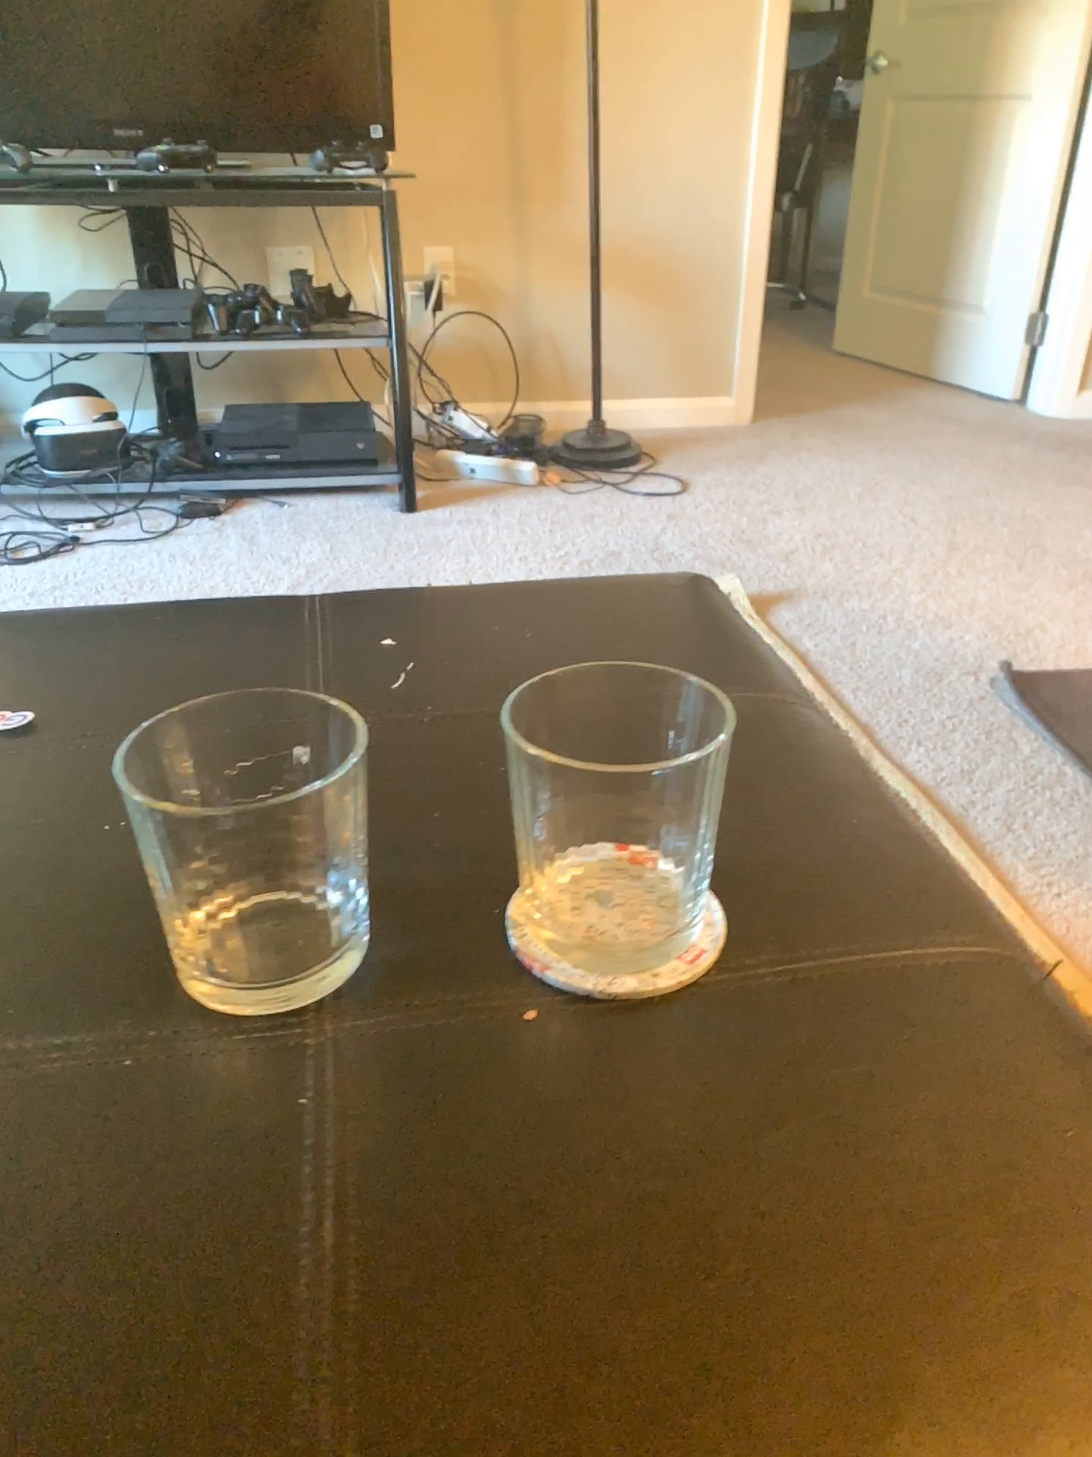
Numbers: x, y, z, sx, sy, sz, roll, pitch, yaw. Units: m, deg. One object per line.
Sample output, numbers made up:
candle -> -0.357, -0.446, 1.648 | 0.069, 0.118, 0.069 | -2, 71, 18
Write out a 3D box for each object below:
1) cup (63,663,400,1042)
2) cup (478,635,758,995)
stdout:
cup -> -0.114, 0.043, 0.428 | 0.080, 0.099, 0.080 | 0, 28, 0
cup -> 0.030, 0.031, 0.461 | 0.080, 0.099, 0.090 | 14, 31, 23
